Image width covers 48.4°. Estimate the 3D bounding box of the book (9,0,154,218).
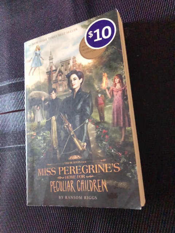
[{"bbox_3d":[-0.018,-0.007,0.247,0.160,0.050,0.230,-9,78,21],"label":"book"}]
